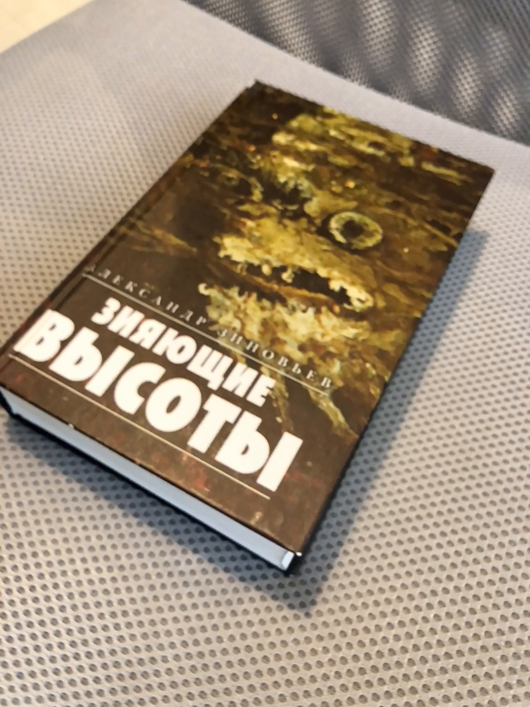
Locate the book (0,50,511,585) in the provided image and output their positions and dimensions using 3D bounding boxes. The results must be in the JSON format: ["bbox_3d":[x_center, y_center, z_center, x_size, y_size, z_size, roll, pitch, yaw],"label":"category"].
[{"bbox_3d":[-0.002,-0.031,0.249,0.140,0.040,0.191,26,66,12],"label":"book"}]
